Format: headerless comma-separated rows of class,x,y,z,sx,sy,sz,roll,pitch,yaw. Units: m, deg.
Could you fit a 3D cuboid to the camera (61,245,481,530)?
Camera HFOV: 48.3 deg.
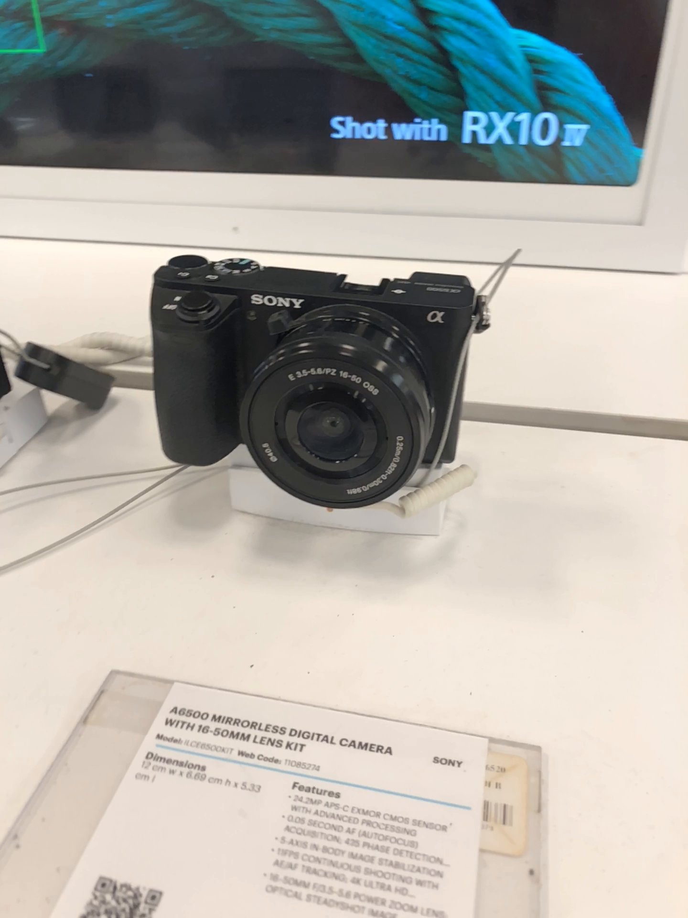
camera,-0.021,-0.031,0.285,0.130,0.070,0.070,6,34,12
